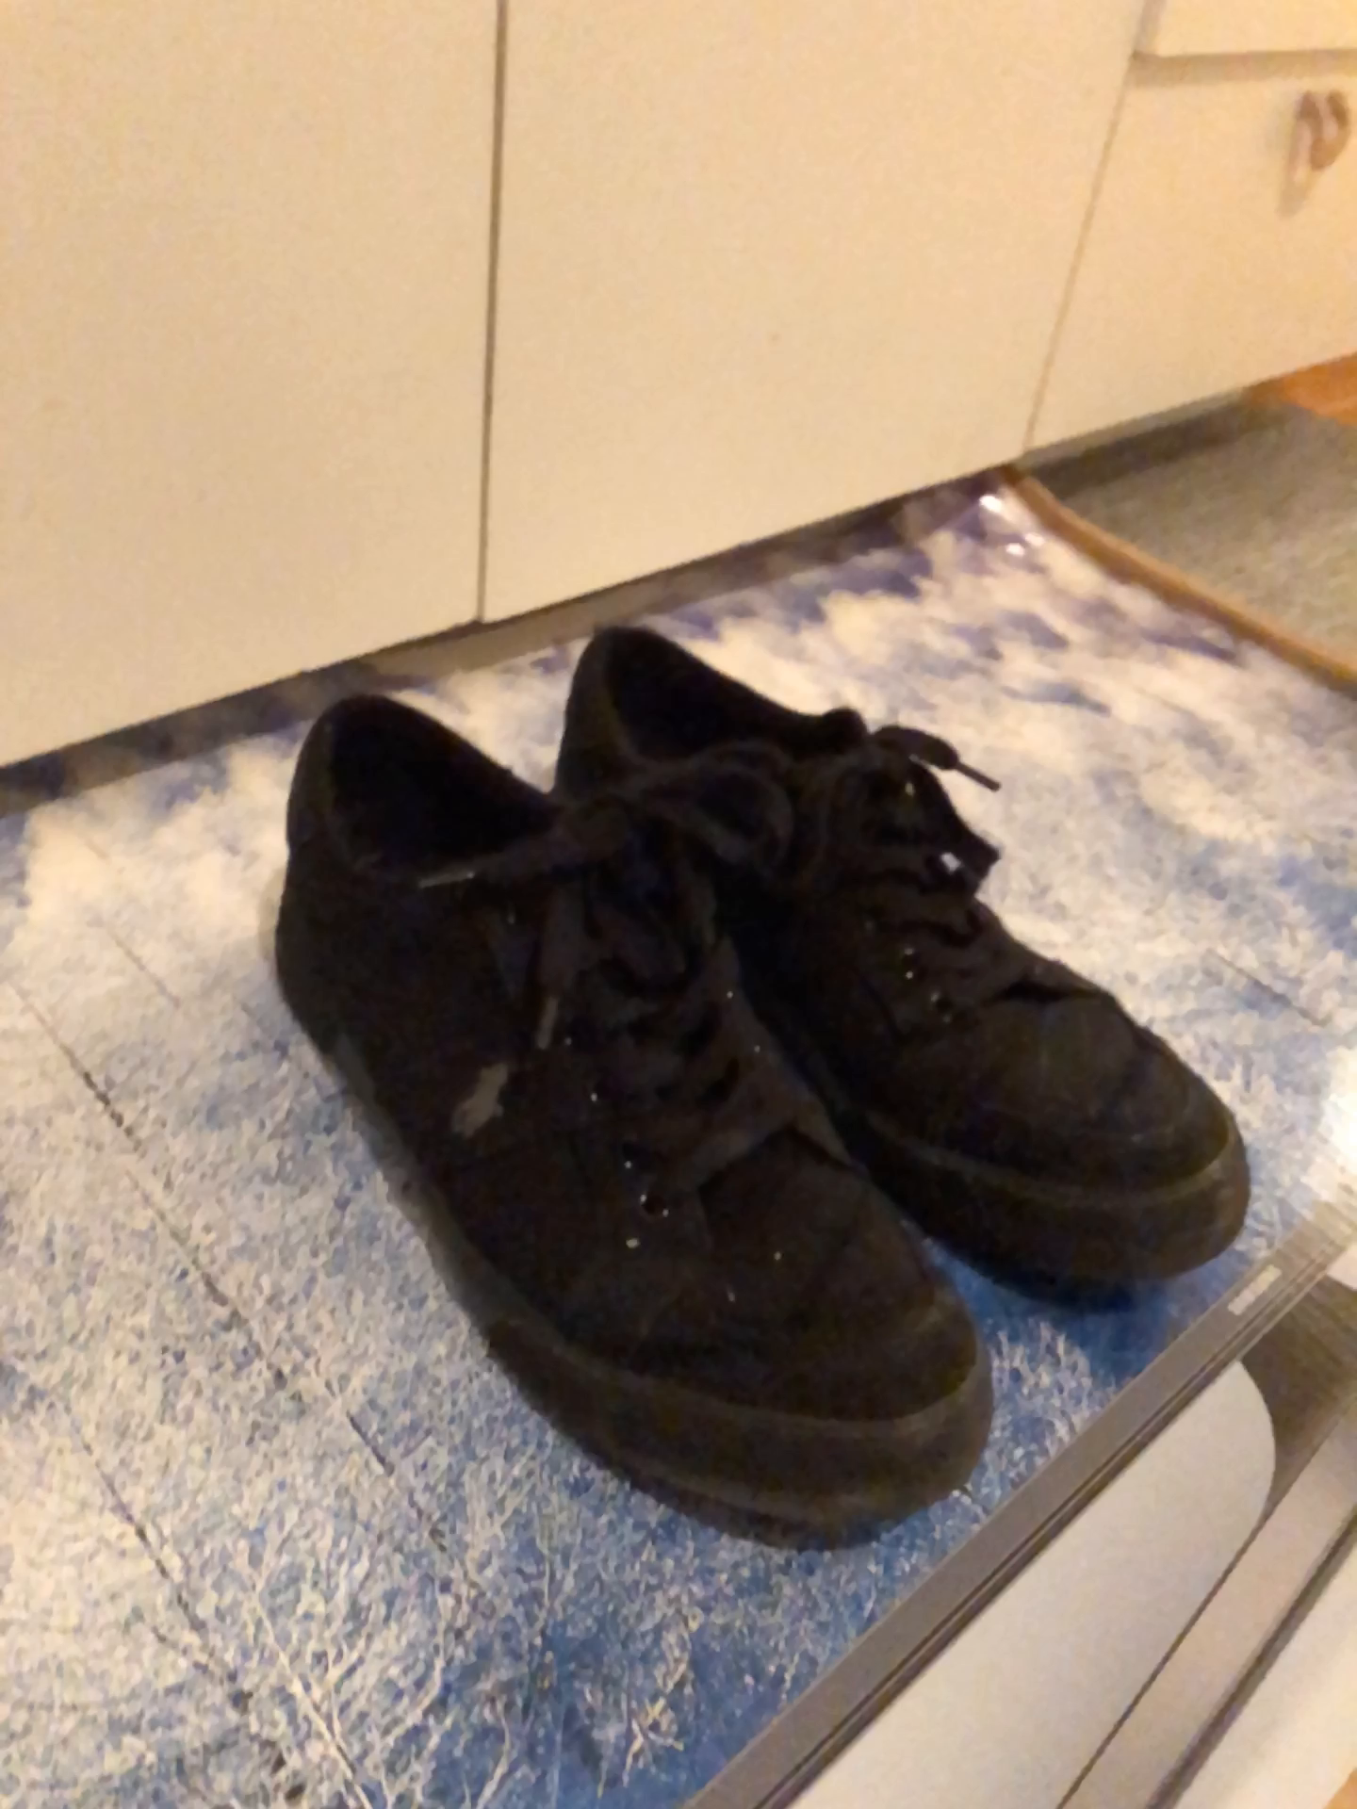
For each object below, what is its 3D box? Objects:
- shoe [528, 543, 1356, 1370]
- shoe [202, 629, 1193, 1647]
[{"bbox_3d":[0.076,-0.002,0.484,0.110,0.109,0.261,-24,48,-34],"label":"shoe"},{"bbox_3d":[-0.016,0.042,0.427,0.110,0.109,0.271,-24,48,-34],"label":"shoe"}]
